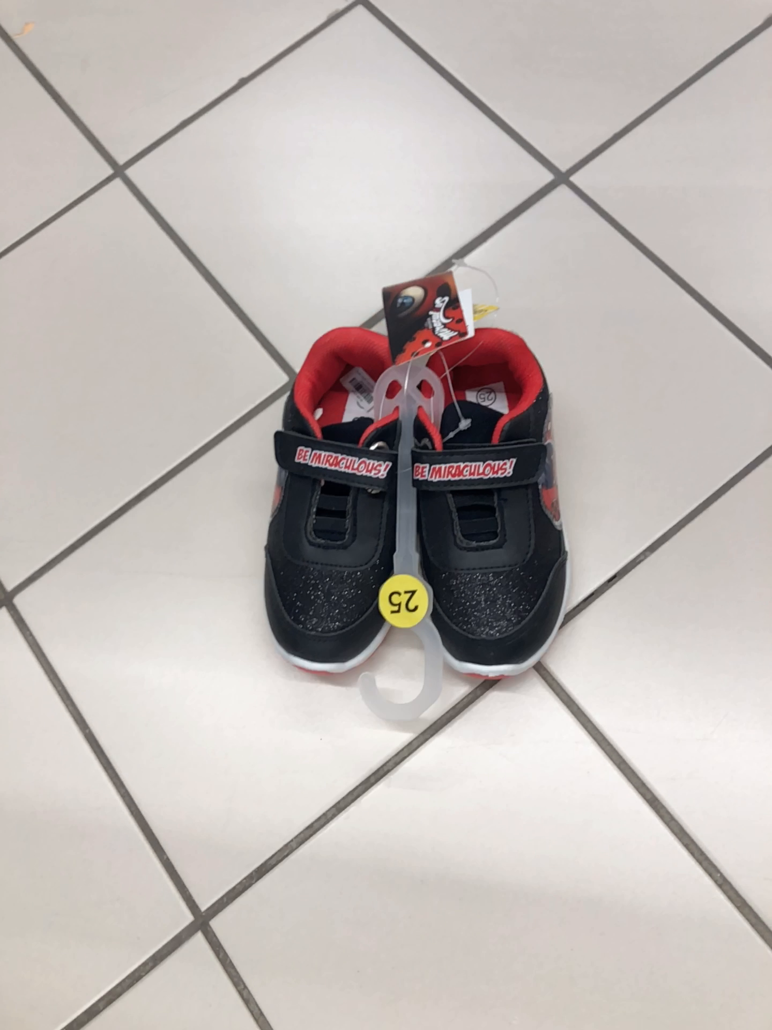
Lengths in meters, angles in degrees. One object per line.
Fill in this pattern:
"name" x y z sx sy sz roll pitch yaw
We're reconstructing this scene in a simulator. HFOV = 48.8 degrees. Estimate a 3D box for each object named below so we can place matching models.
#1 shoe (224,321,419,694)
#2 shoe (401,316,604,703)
"shoe" -0.025 -0.001 0.415 0.075 0.070 0.166 -1 71 7
"shoe" 0.053 0.000 0.410 0.077 0.071 0.168 -4 71 6
